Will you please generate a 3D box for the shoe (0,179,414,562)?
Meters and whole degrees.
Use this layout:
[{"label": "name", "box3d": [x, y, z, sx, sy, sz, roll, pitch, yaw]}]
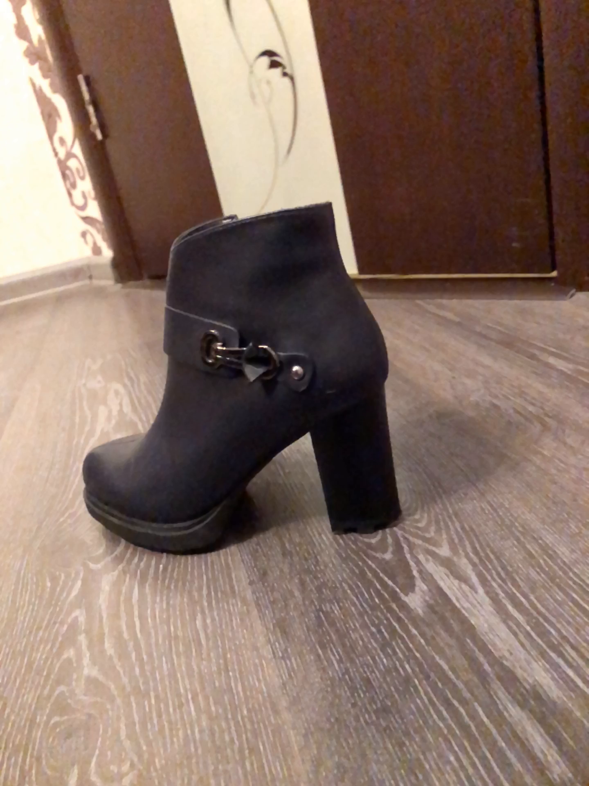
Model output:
[{"label": "shoe", "box3d": [-0.060, -0.007, 0.408, 0.230, 0.189, 0.111, -5, 23, 19]}]
